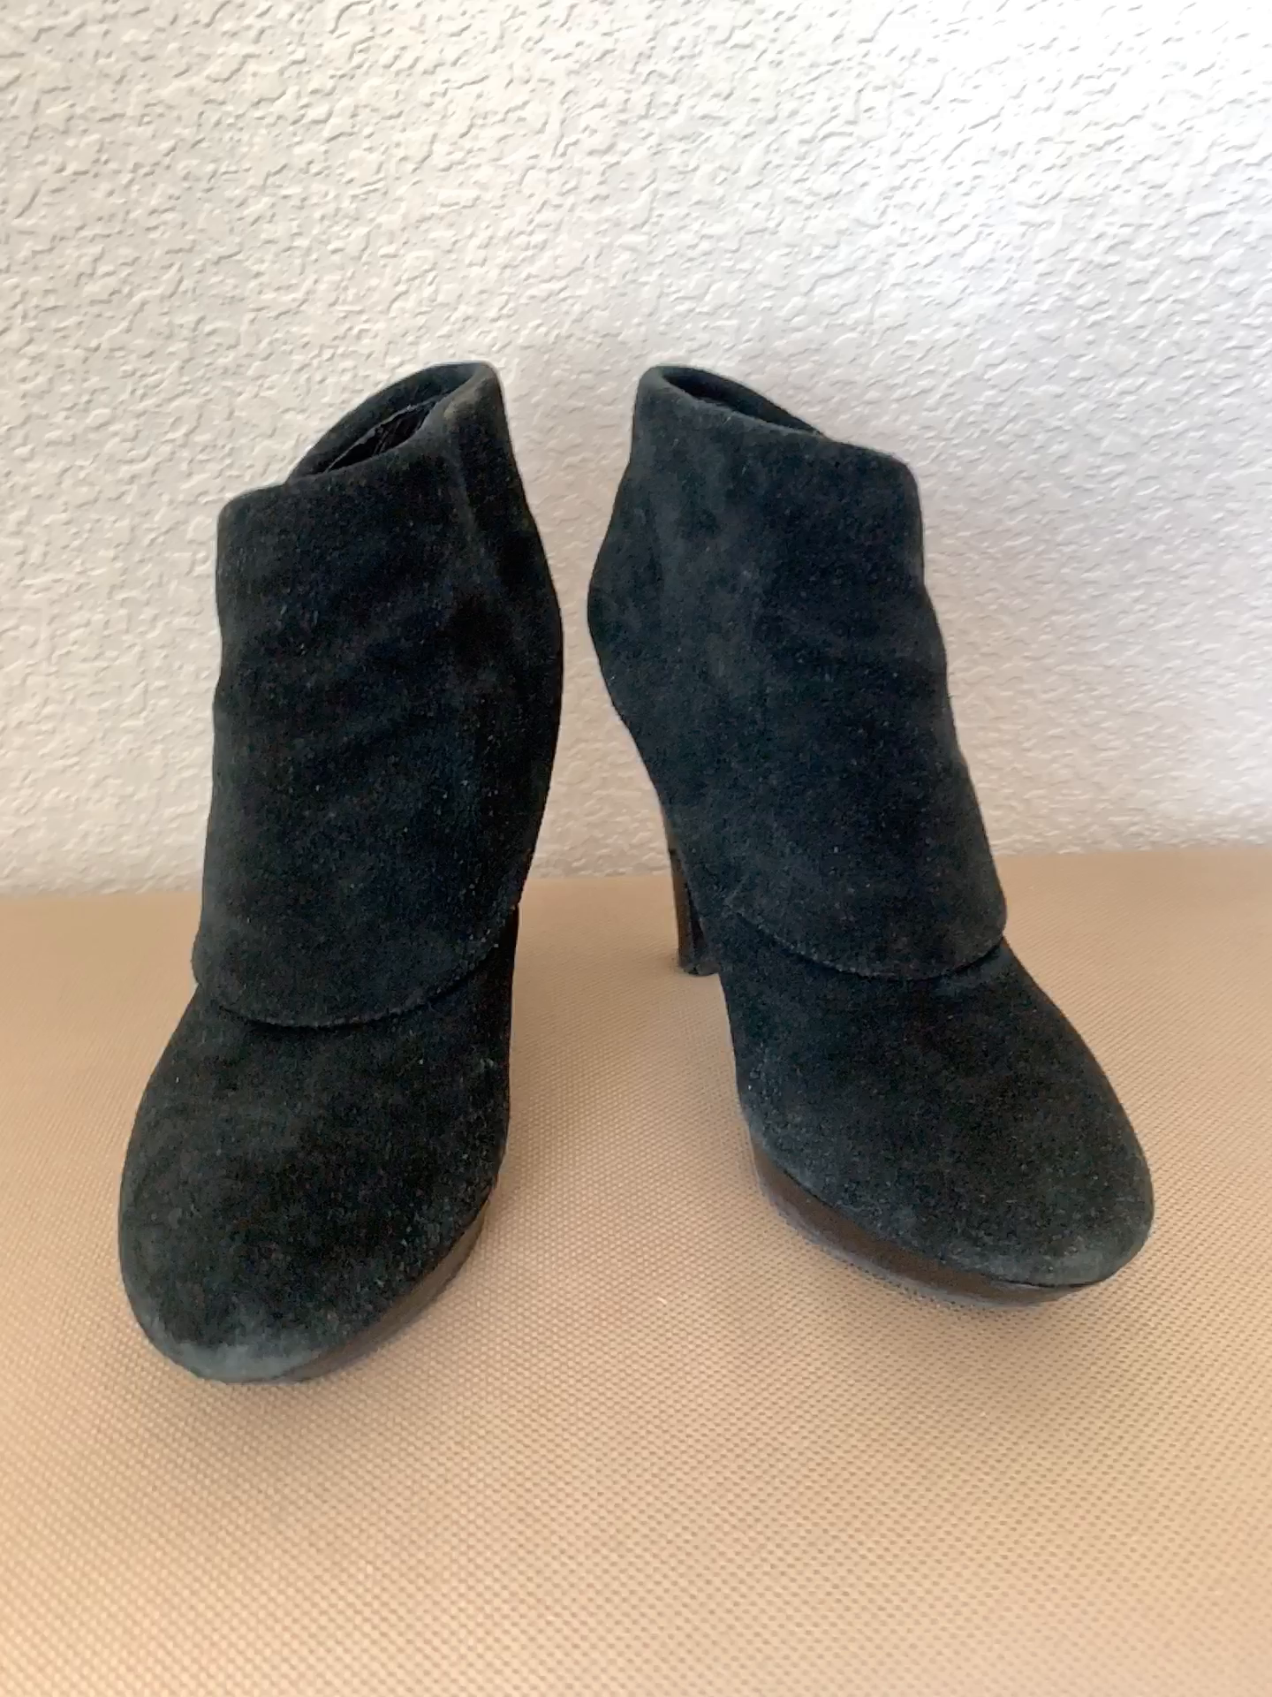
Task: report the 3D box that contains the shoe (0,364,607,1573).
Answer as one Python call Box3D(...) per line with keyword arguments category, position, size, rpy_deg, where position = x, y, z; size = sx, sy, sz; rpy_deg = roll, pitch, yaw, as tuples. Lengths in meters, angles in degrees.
Box3D(category="shoe", position=(-0.072, -0.002, 0.291), size=(0.090, 0.166, 0.218), rpy_deg=(6, 29, 9))

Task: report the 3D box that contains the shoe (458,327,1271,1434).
Box3D(category="shoe", position=(0.040, -0.020, 0.311), size=(0.090, 0.166, 0.218), rpy_deg=(-12, 31, -22))
